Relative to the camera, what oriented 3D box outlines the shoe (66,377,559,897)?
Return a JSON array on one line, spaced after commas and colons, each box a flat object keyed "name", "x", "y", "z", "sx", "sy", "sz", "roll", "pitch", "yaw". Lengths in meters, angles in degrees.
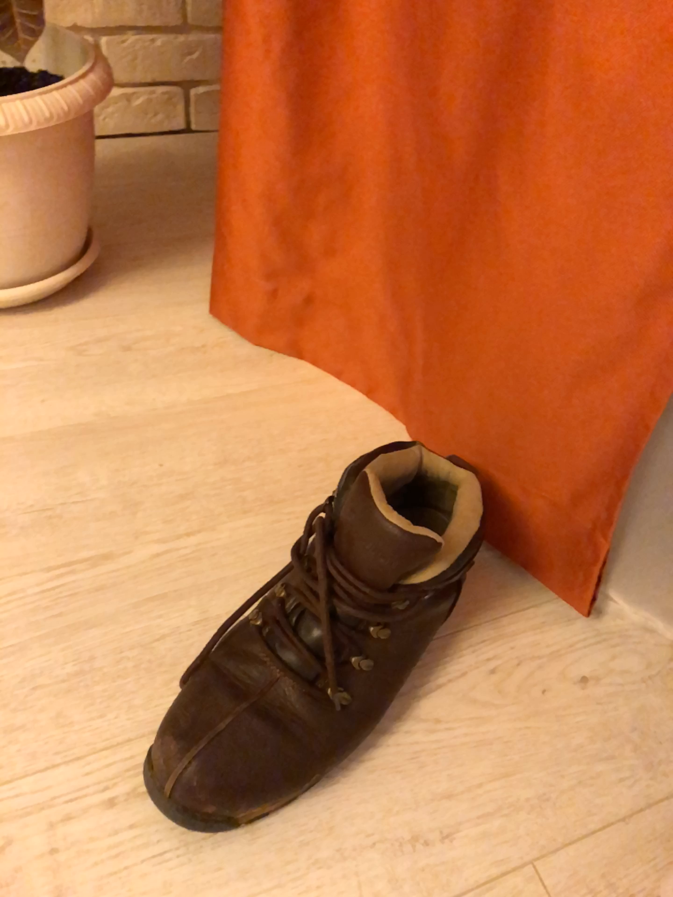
[{"name": "shoe", "x": 0.000, "y": 0.105, "z": 0.480, "sx": 0.110, "sy": 0.159, "sz": 0.302, "roll": 34, "pitch": 50, "yaw": 25}]
